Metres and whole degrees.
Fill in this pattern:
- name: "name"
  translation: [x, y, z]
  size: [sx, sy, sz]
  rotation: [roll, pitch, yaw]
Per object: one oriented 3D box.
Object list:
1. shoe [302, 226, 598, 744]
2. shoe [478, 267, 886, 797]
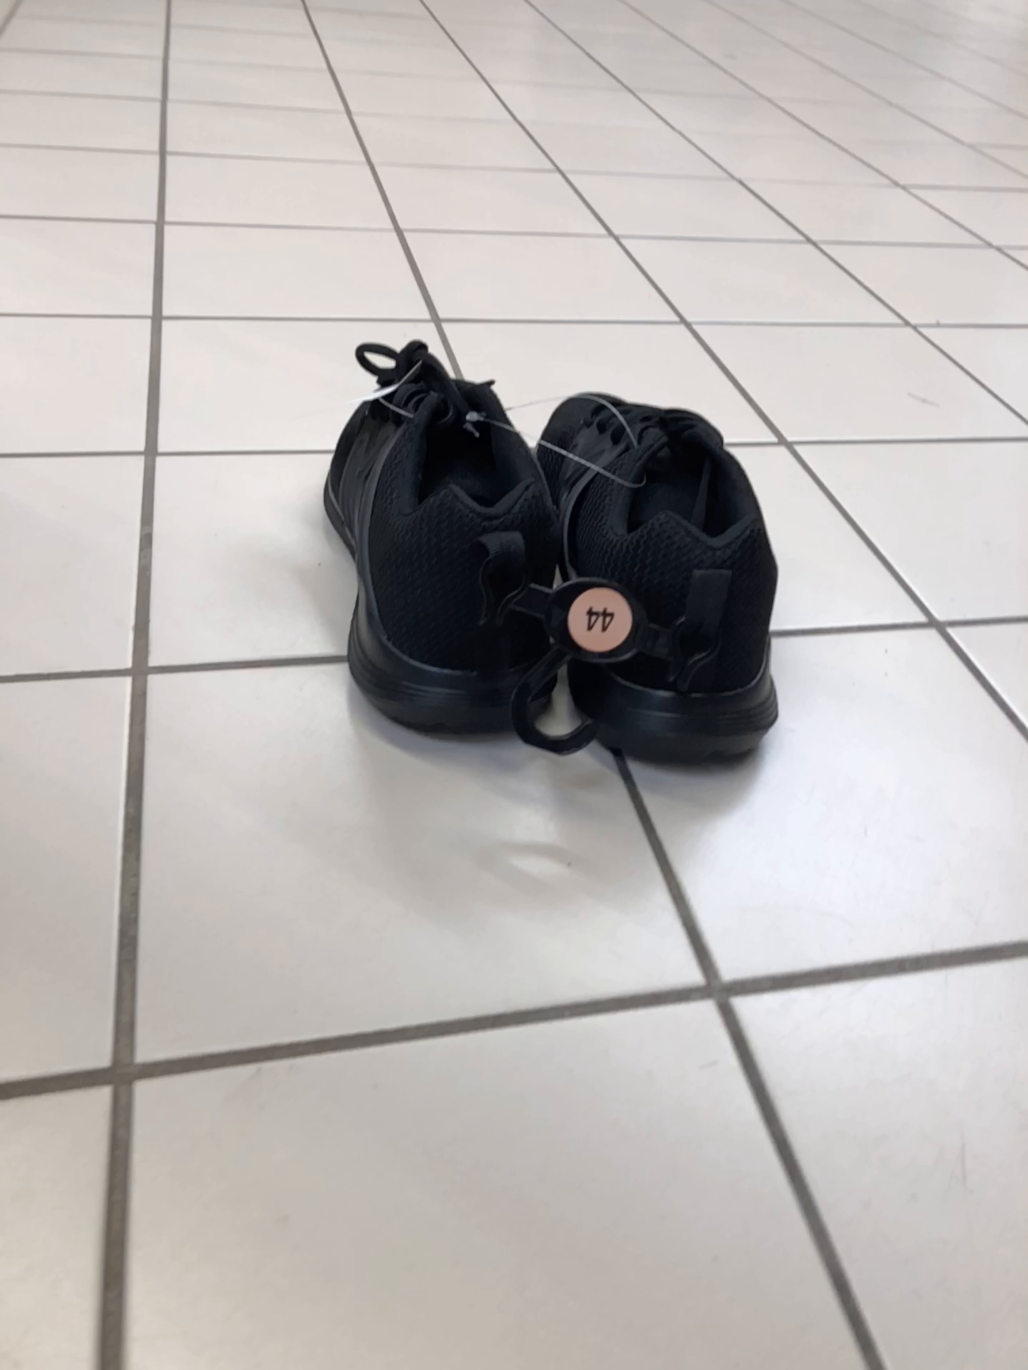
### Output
- name: "shoe"
  translation: [-0.049, -0.118, 0.557]
  size: [0.100, 0.109, 0.312]
  rotation: [-2, 39, -11]
- name: "shoe"
  translation: [0.057, -0.096, 0.558]
  size: [0.100, 0.109, 0.312]
  rotation: [-2, 39, -11]
